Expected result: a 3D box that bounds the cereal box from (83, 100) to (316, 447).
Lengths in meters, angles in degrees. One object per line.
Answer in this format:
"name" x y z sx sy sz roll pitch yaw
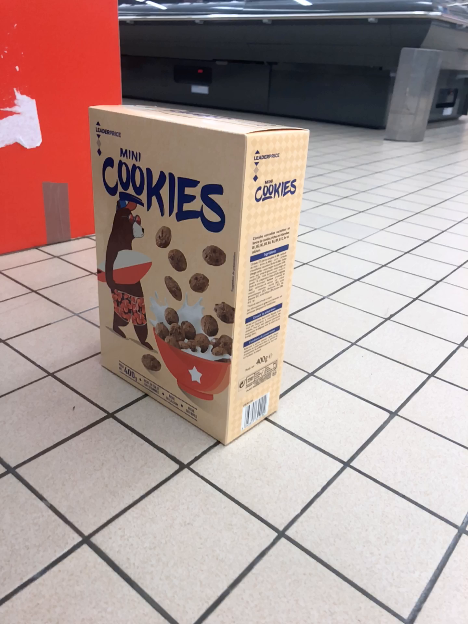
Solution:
"cereal box" -0.043 -0.046 0.497 0.200 0.278 0.080 23 31 35
